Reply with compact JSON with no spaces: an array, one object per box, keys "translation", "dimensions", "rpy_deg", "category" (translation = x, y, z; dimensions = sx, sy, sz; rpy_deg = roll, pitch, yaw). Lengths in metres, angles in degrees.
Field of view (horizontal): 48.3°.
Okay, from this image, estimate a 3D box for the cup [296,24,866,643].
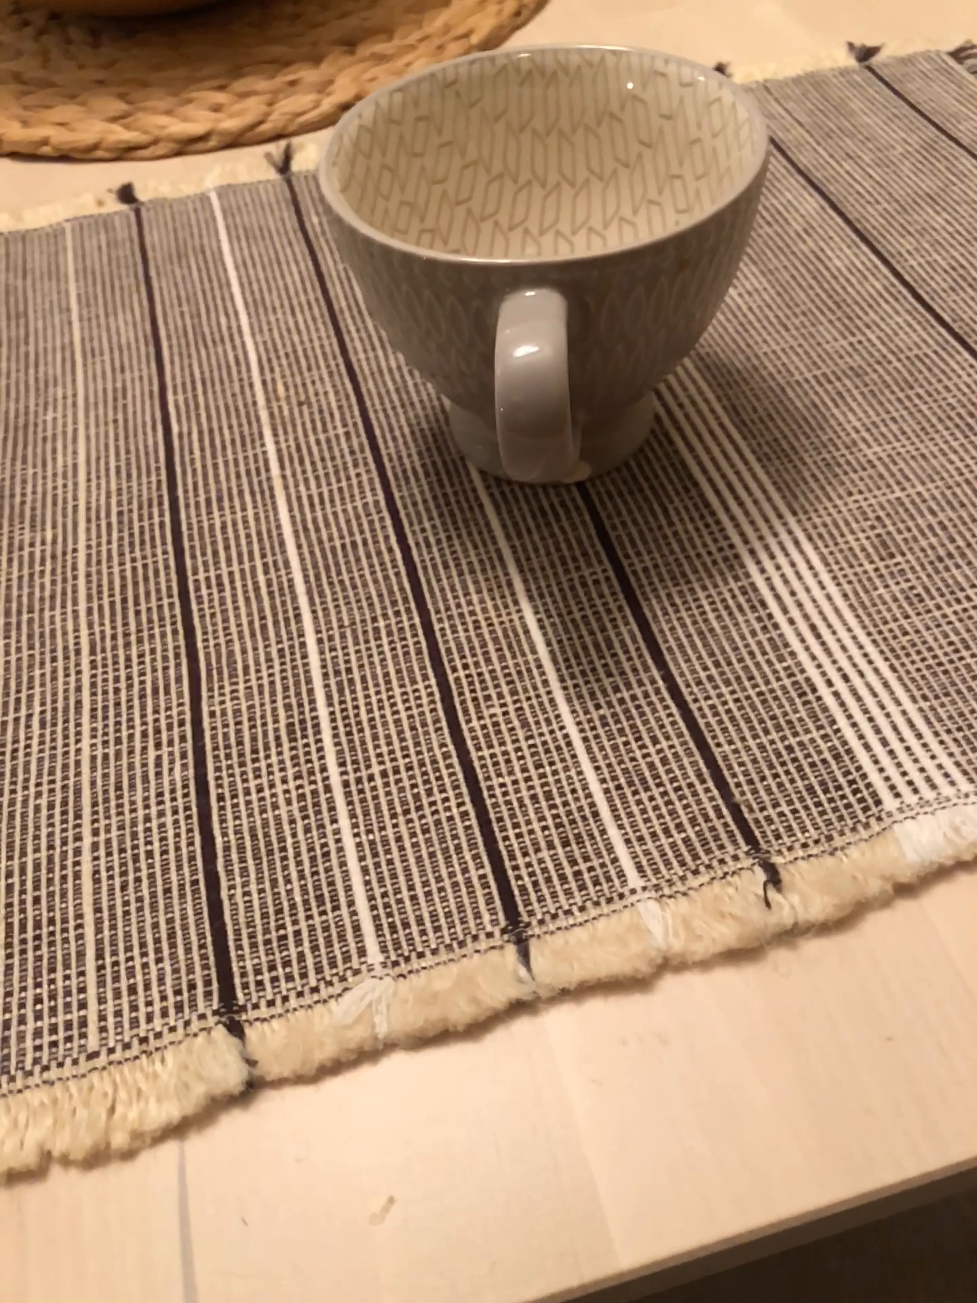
[{"translation":[0.017,-0.089,0.289],"dimensions":[0.110,0.080,0.151],"rpy_deg":[-4,50,1],"category":"cup"}]
